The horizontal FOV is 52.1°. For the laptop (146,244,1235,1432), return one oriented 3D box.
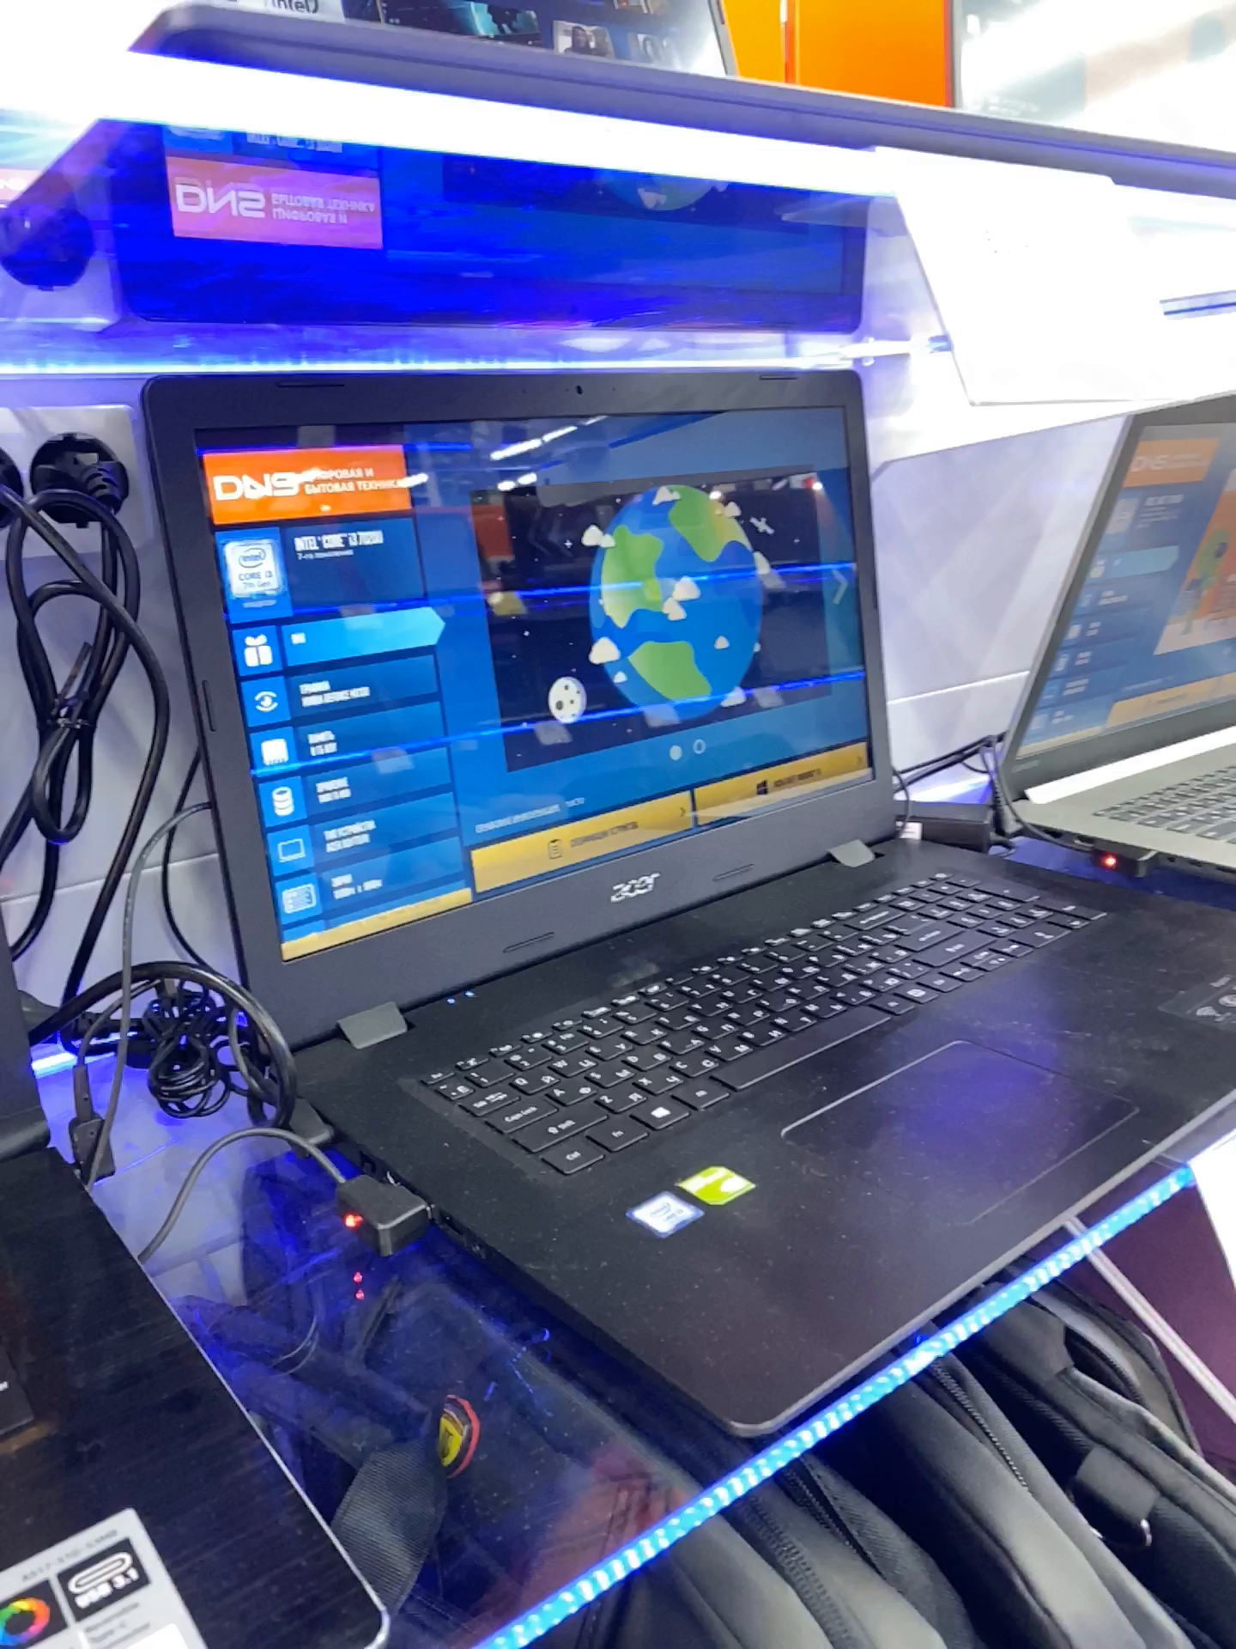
[{"bbox_3d":[0.090,-0.056,0.529,0.422,0.273,0.327,-15,19,-37],"label":"laptop"}]
